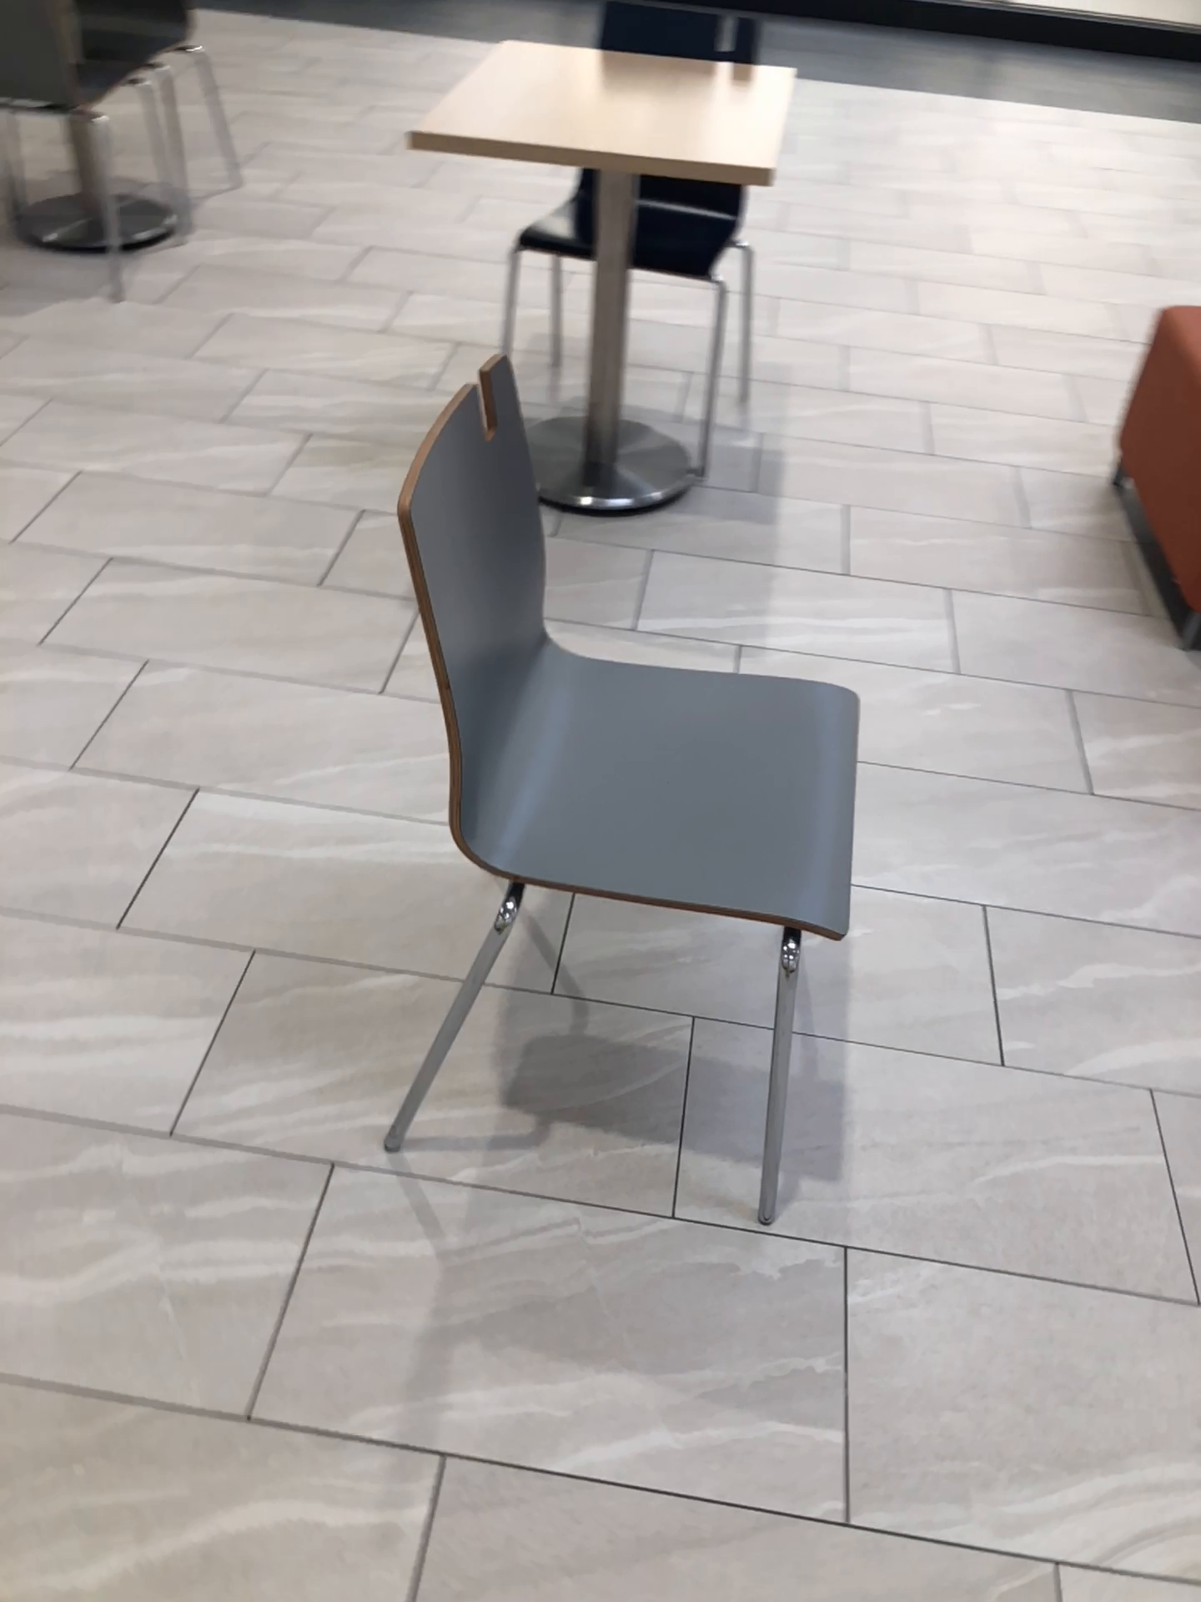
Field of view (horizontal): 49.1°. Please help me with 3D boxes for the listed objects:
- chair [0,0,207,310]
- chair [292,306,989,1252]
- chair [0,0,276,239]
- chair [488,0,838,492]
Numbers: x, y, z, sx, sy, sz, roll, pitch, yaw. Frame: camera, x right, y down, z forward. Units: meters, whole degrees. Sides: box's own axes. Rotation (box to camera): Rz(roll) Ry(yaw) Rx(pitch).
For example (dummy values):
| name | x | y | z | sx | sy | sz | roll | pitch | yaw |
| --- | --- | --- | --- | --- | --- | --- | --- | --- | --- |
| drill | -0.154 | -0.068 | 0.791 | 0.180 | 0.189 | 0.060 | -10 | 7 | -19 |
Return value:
| name | x | y | z | sx | sy | sz | roll | pitch | yaw |
| --- | --- | --- | --- | --- | --- | --- | --- | --- | --- |
| chair | -1.302 | -1.599 | 3.012 | 0.574 | 0.708 | 0.538 | 5 | 40 | -1 |
| chair | 0.039 | -0.012 | 1.413 | 0.515 | 0.787 | 0.527 | 9 | 40 | 5 |
| chair | -1.231 | -1.959 | 3.434 | 0.554 | 0.738 | 0.487 | 9 | 40 | 4 |
| chair | 0.115 | -1.145 | 2.660 | 0.514 | 0.778 | 0.538 | 14 | 41 | 10 |
